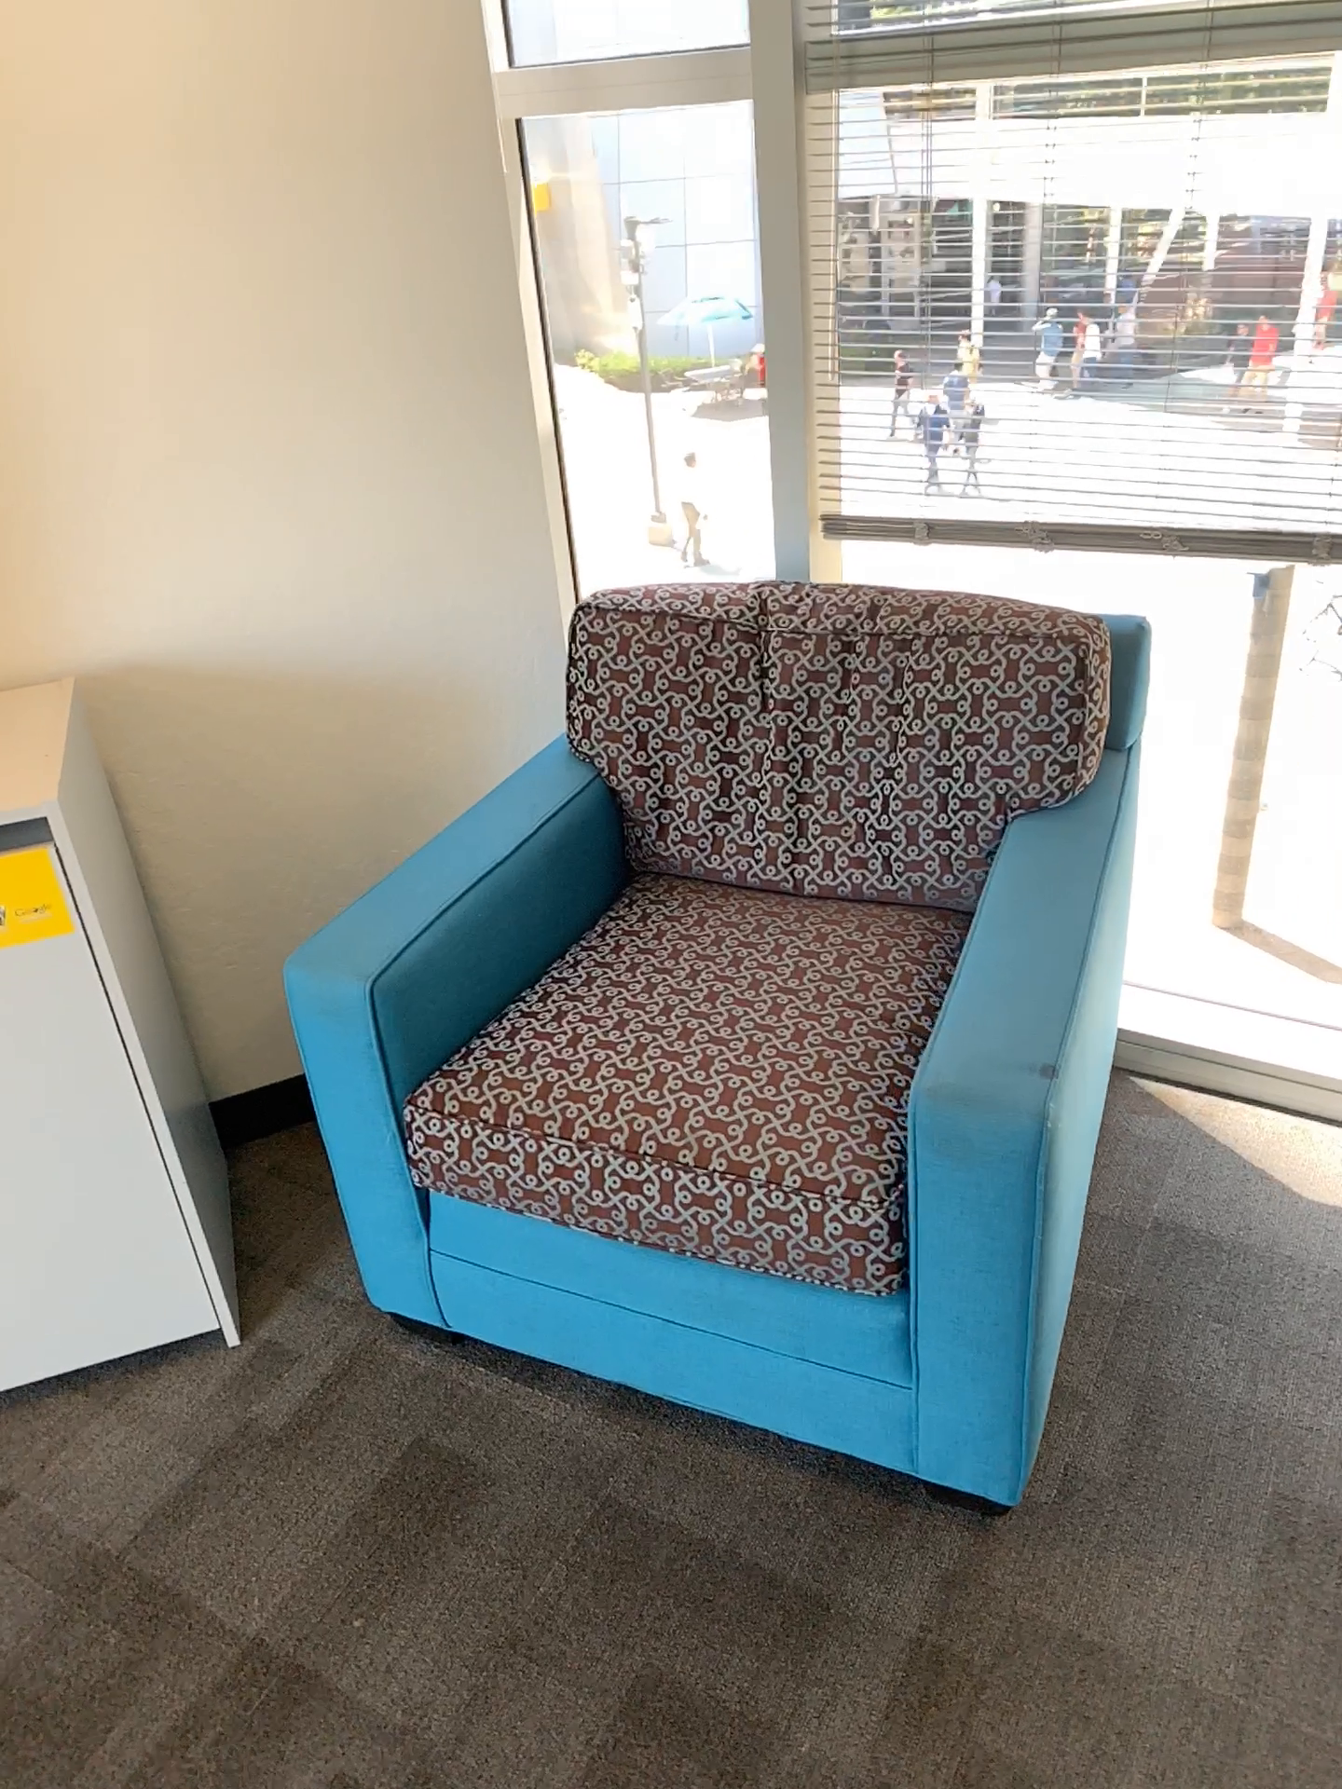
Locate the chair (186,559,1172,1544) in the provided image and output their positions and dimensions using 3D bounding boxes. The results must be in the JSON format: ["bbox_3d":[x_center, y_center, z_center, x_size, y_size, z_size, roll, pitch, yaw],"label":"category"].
[{"bbox_3d":[0.106,0.098,1.876,0.932,0.805,0.914,8,33,22],"label":"chair"}]
